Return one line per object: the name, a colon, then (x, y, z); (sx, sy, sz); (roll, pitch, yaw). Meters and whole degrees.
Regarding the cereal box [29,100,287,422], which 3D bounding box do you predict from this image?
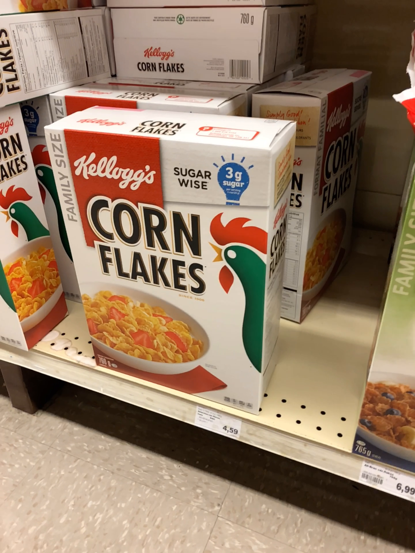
cereal box: (-0.053, -0.014, 0.612); (0.270, 0.387, 0.101); (11, 33, 19)
